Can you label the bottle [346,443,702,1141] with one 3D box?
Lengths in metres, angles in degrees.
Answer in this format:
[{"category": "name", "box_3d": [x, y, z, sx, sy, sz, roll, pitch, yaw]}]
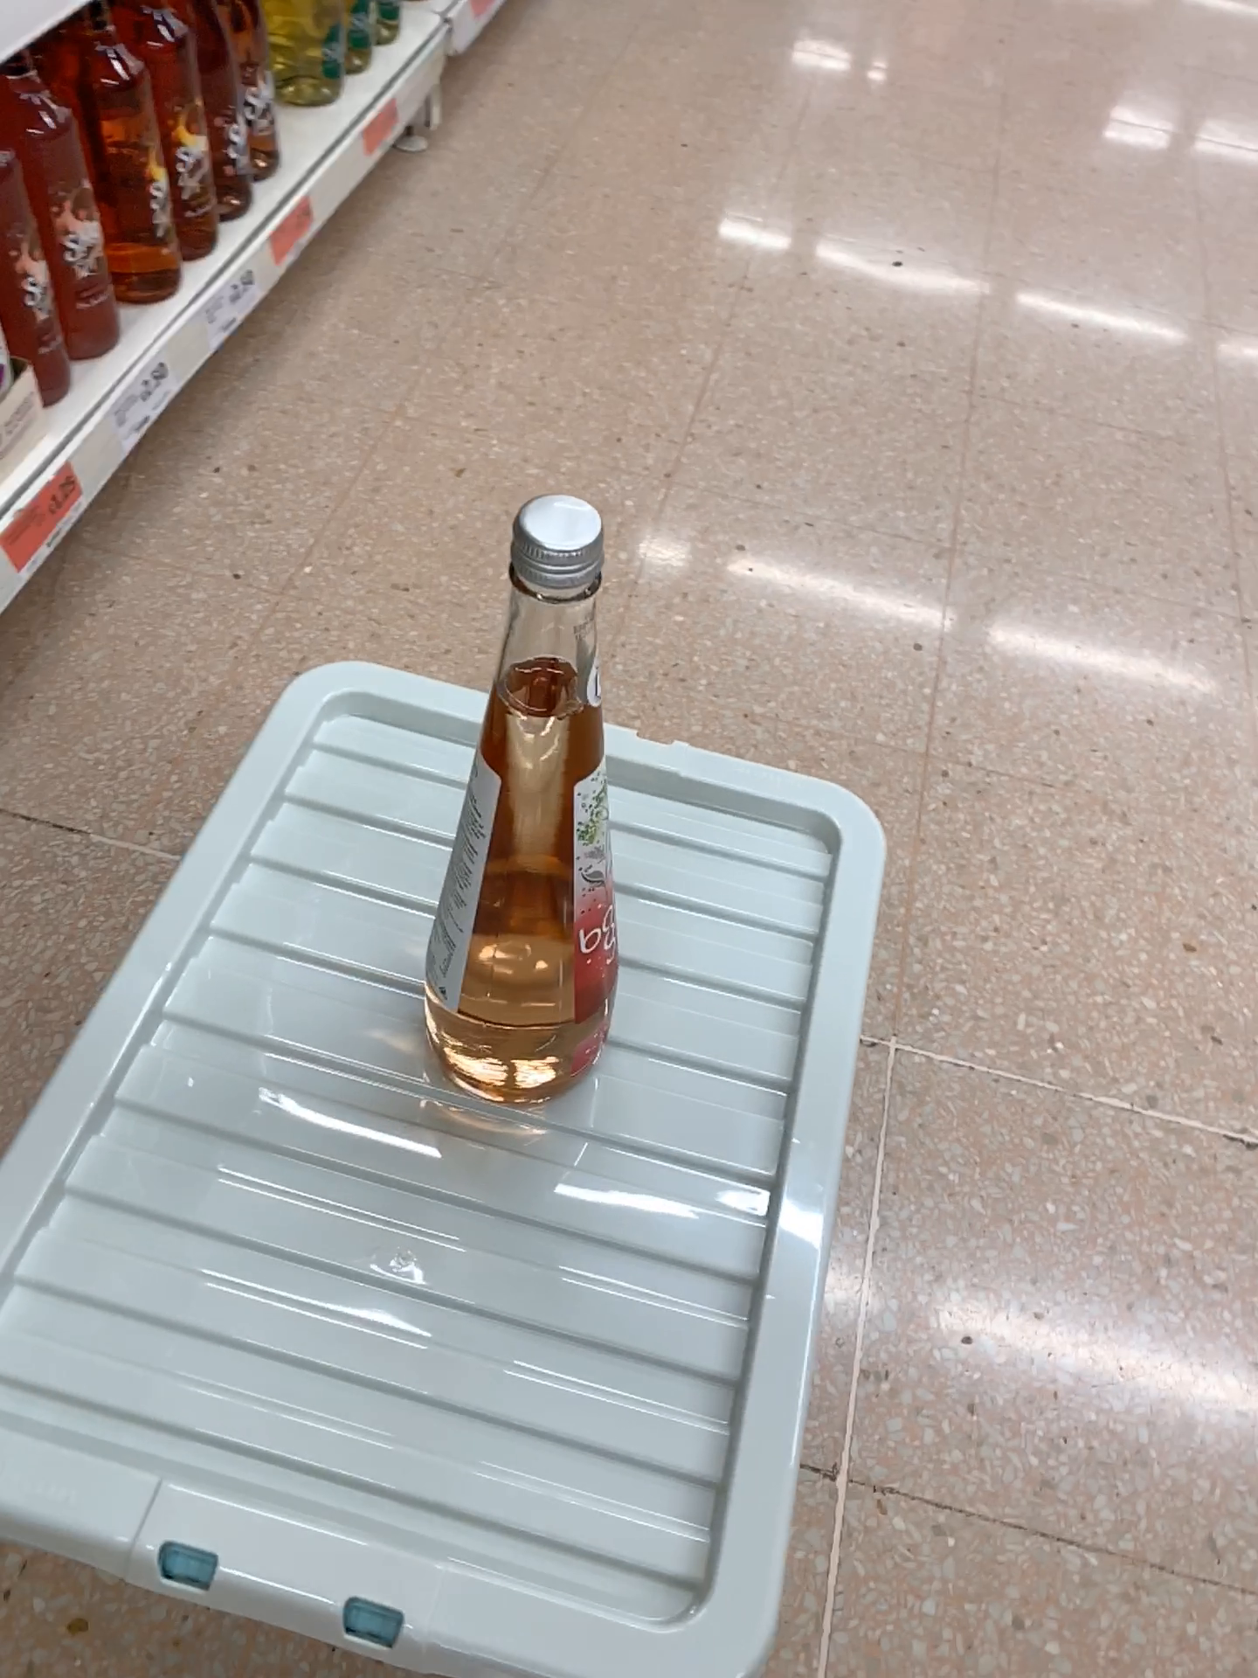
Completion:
[{"category": "bottle", "box_3d": [-0.045, 0.006, 0.499, 0.090, 0.299, 0.081, 12, 51, 1]}]
